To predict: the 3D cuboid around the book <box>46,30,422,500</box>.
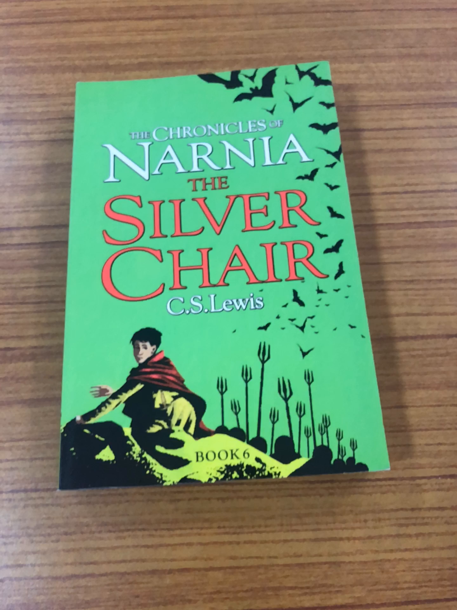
[{"bbox_3d":[-0.004,-0.027,0.238,0.140,0.030,0.210,-4,72,0],"label":"book"}]
